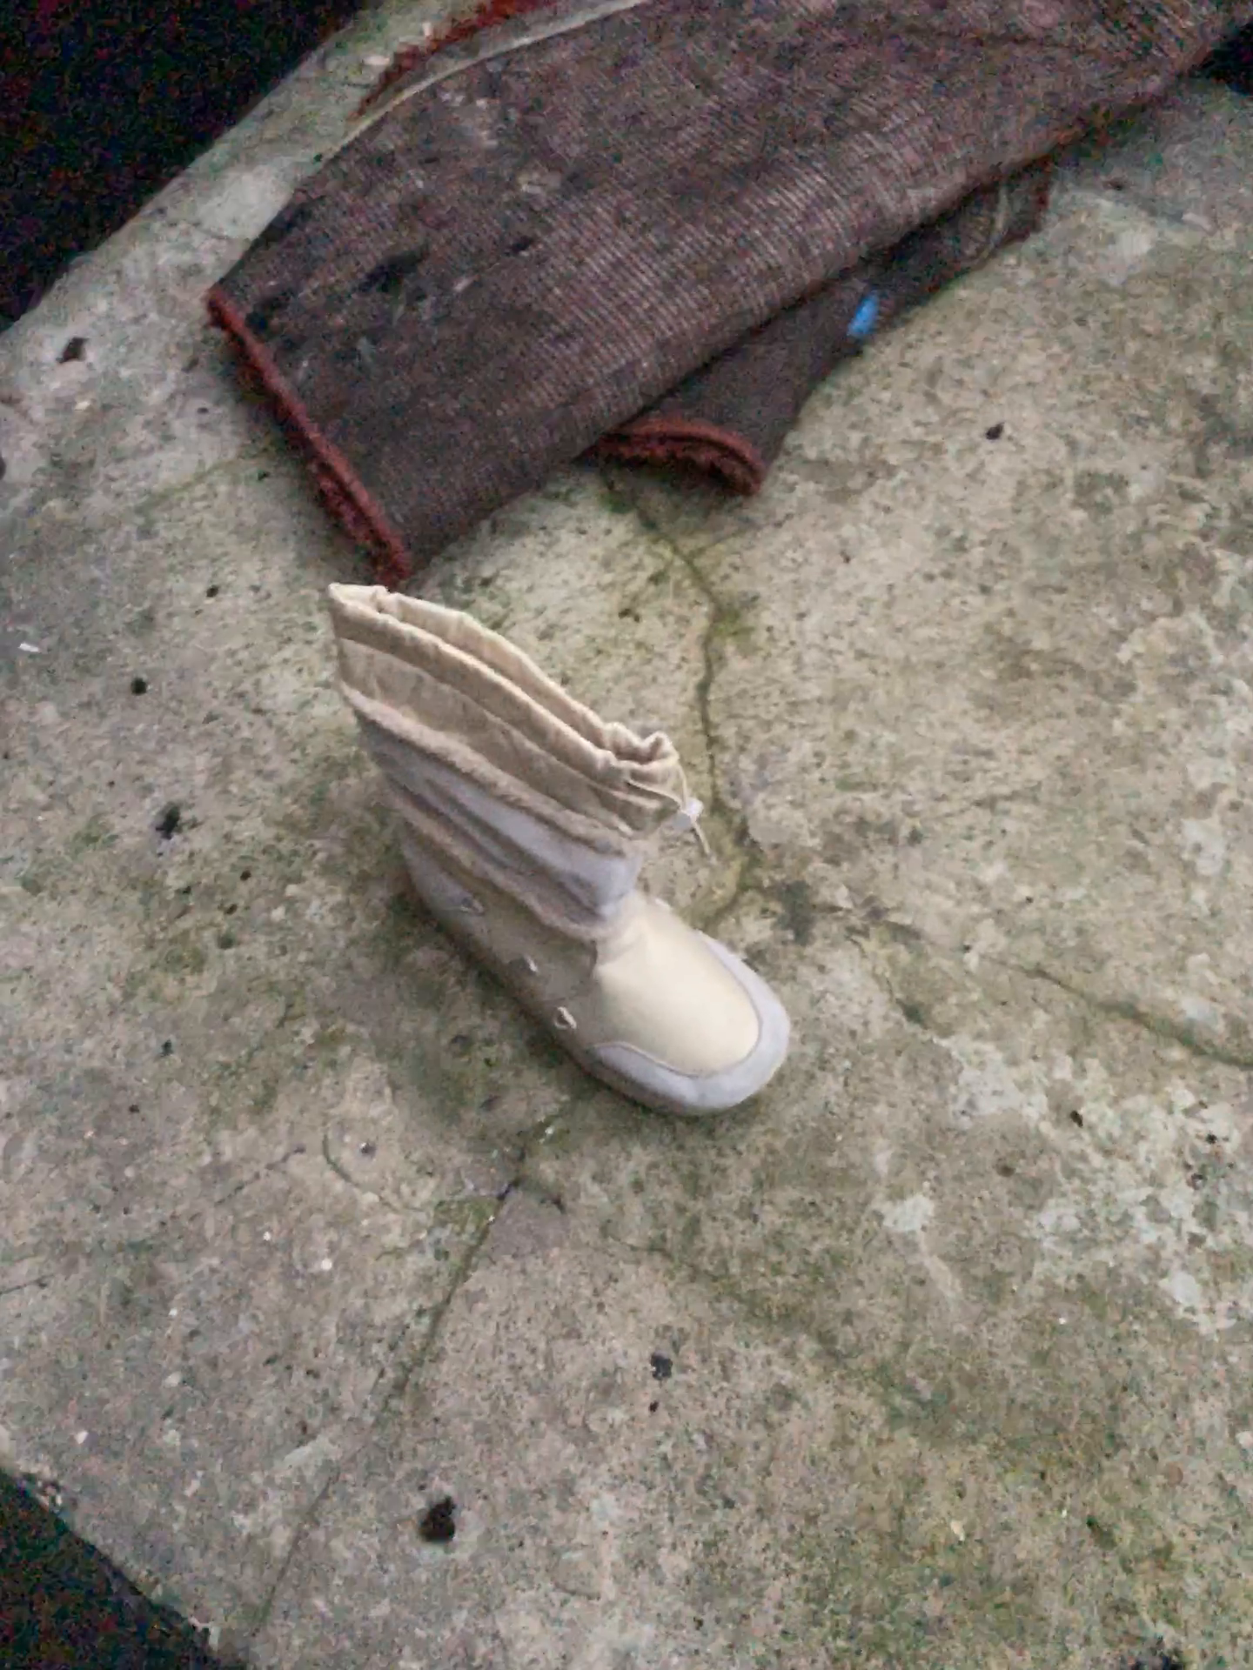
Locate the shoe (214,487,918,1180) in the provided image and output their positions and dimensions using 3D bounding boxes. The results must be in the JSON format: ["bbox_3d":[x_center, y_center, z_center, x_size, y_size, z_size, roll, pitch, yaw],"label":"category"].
[{"bbox_3d":[-0.025,0.023,0.664,0.271,0.309,0.120,35,72,15],"label":"shoe"}]
